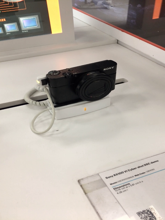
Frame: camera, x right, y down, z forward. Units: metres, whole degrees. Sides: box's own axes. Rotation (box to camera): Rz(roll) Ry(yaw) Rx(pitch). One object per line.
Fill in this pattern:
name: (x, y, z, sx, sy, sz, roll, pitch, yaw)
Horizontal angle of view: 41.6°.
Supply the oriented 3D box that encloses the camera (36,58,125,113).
camera: (-0.001, -0.042, 0.357, 0.123, 0.059, 0.043, -15, 45, -15)
